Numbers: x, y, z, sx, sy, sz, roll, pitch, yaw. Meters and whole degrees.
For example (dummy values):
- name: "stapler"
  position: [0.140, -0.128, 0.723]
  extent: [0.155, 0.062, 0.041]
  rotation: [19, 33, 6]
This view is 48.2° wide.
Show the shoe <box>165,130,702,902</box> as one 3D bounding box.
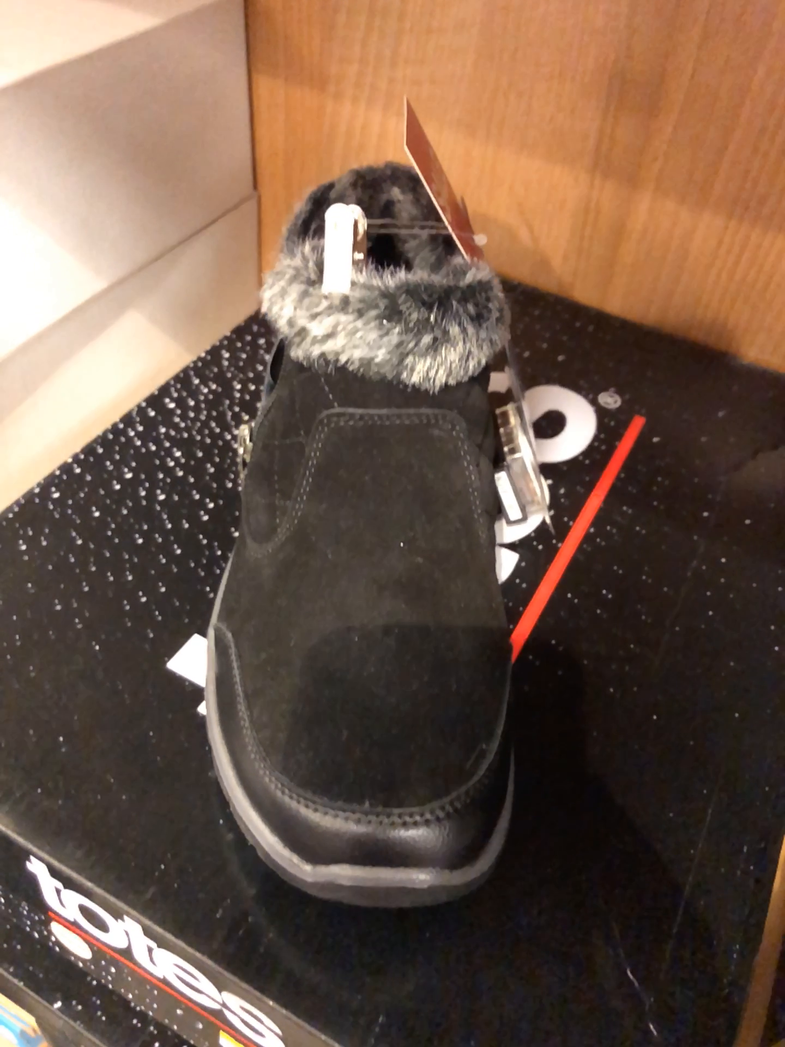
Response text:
- name: "shoe"
  position: [-0.001, -0.022, 0.297]
  extent: [0.105, 0.112, 0.250]
  rotation: [2, 46, -6]
